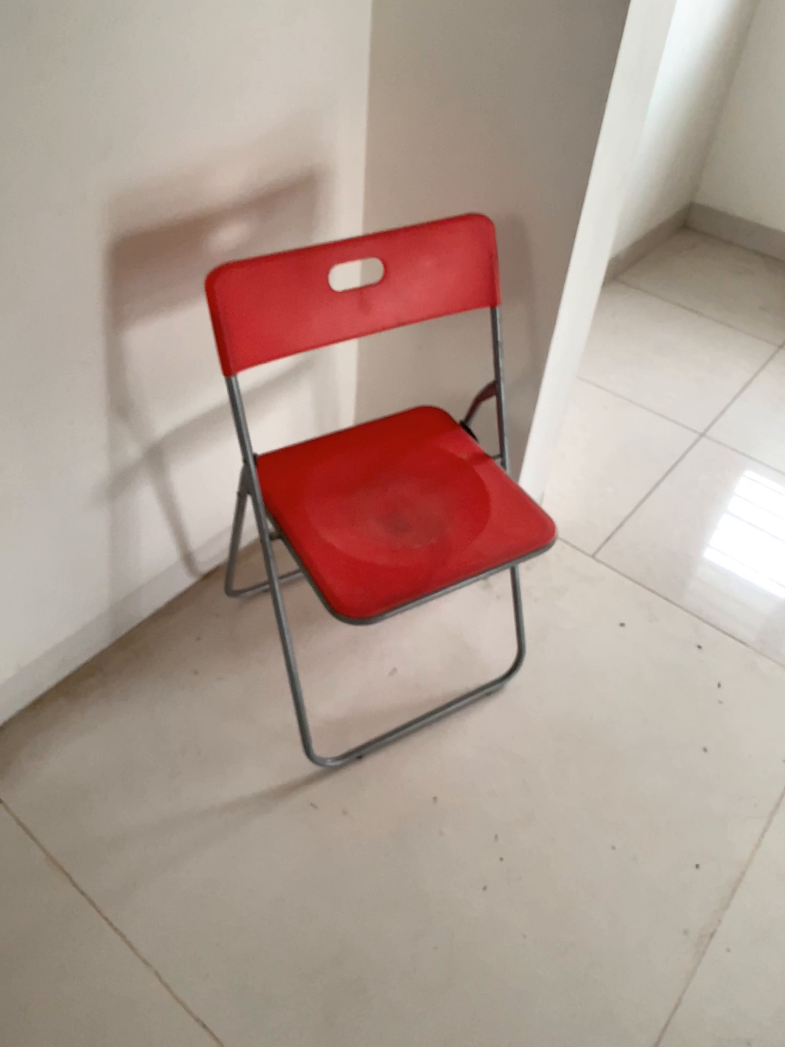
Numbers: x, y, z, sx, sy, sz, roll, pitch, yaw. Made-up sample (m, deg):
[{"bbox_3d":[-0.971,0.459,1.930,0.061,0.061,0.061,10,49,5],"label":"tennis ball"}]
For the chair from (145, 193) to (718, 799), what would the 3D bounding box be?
[{"bbox_3d":[0.015,-0.056,1.219,0.531,0.608,0.501,-21,50,-24],"label":"chair"}]
